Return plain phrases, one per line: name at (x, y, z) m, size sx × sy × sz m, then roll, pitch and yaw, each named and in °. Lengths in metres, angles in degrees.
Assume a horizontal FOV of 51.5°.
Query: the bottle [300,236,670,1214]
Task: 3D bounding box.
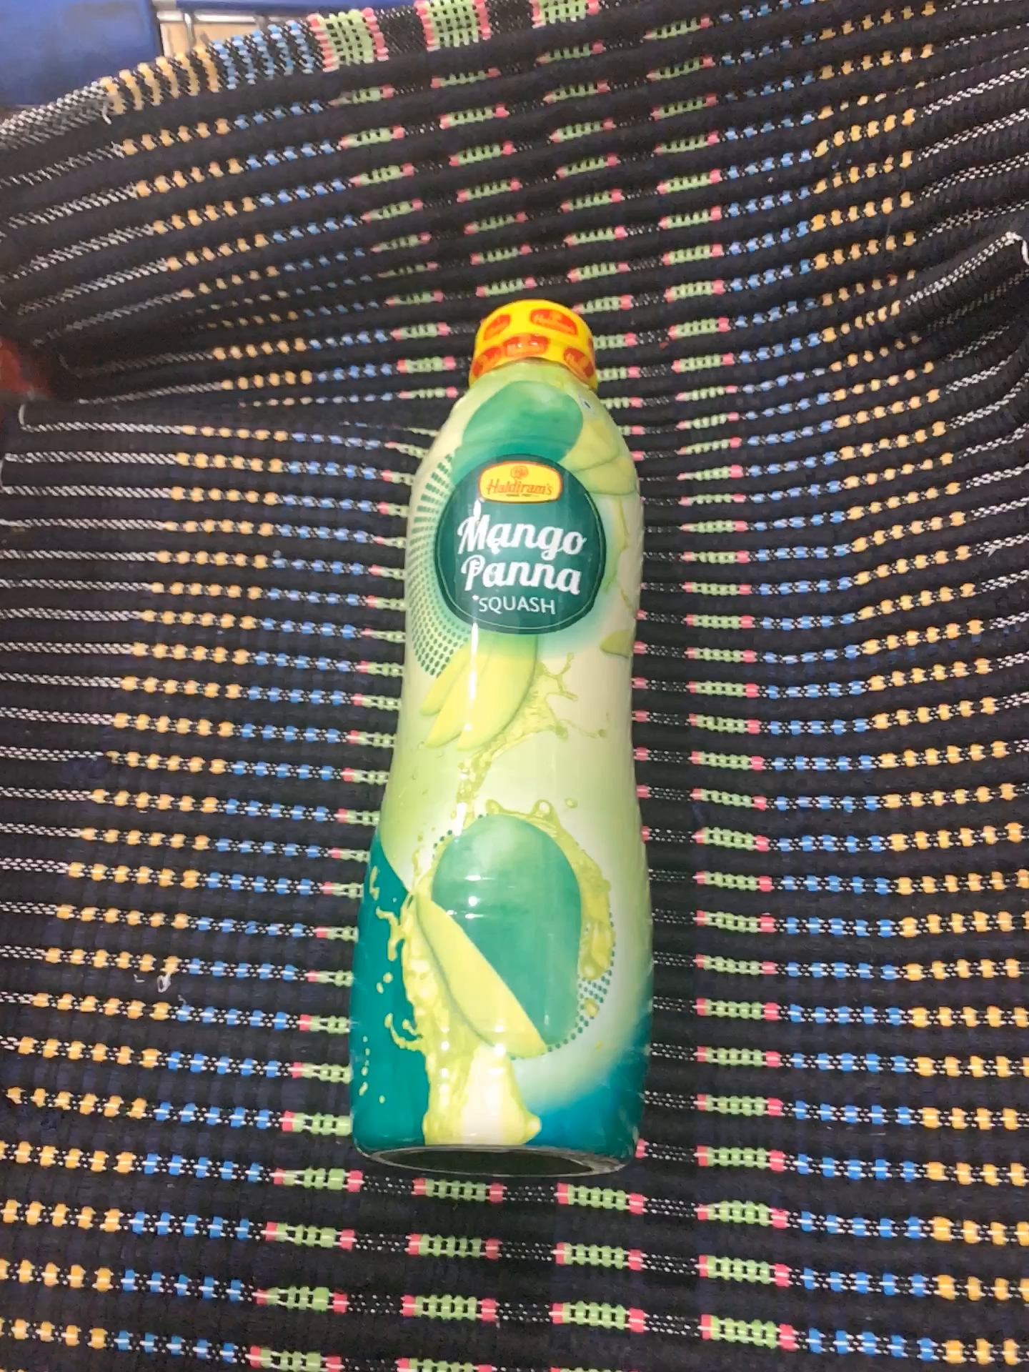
bottle at (0.001, -0.010, 0.291) m, size 0.070 × 0.050 × 0.271 m, roll 4°, pitch 60°, yaw 0°
